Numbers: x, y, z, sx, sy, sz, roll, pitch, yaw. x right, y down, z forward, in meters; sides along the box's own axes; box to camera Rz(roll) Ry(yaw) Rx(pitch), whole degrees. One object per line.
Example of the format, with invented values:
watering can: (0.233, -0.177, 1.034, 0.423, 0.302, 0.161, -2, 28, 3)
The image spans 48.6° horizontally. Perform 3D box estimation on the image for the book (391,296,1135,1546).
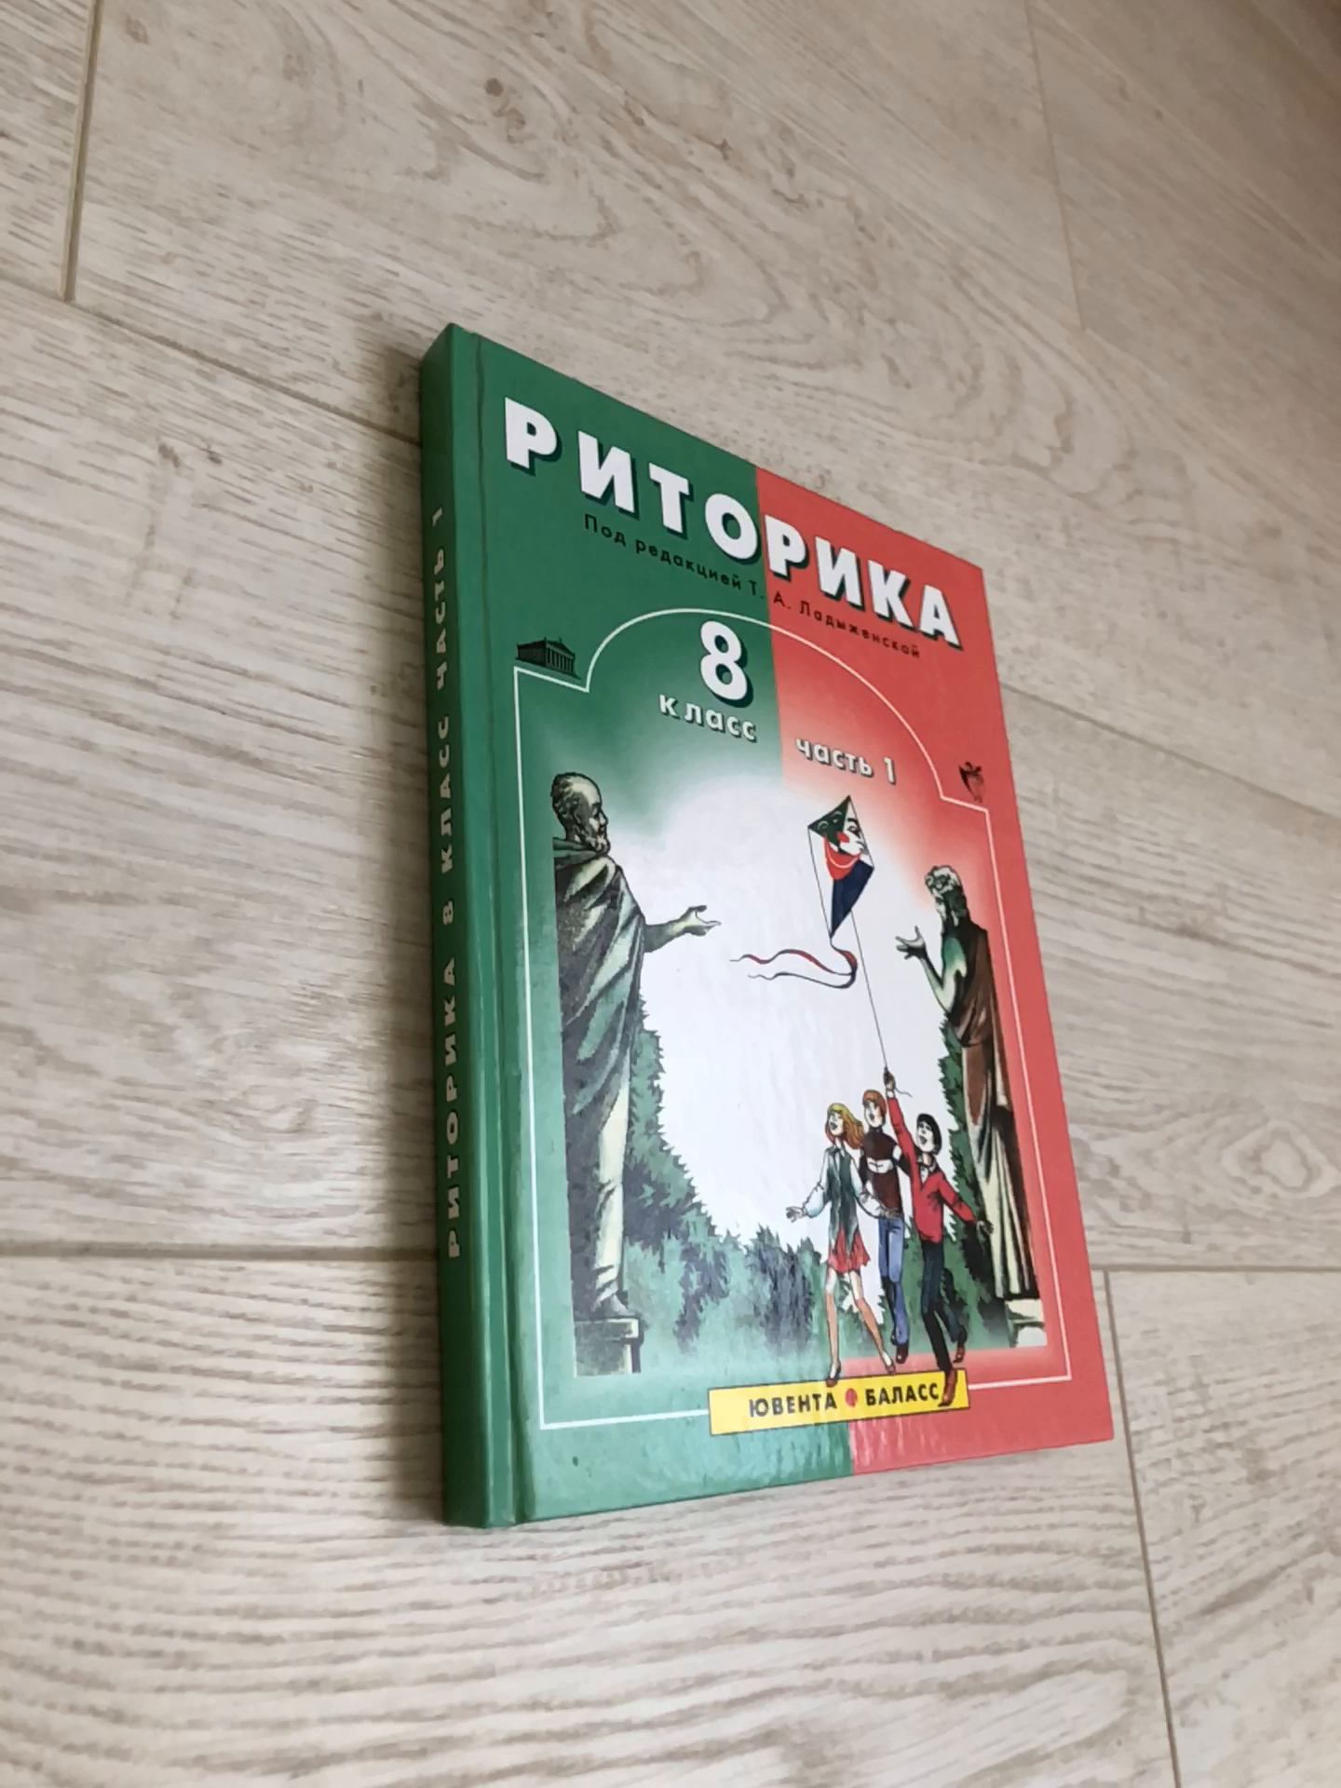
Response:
book: (0.023, 0.005, 0.314, 0.171, 0.020, 0.223, 11, 66, -40)
